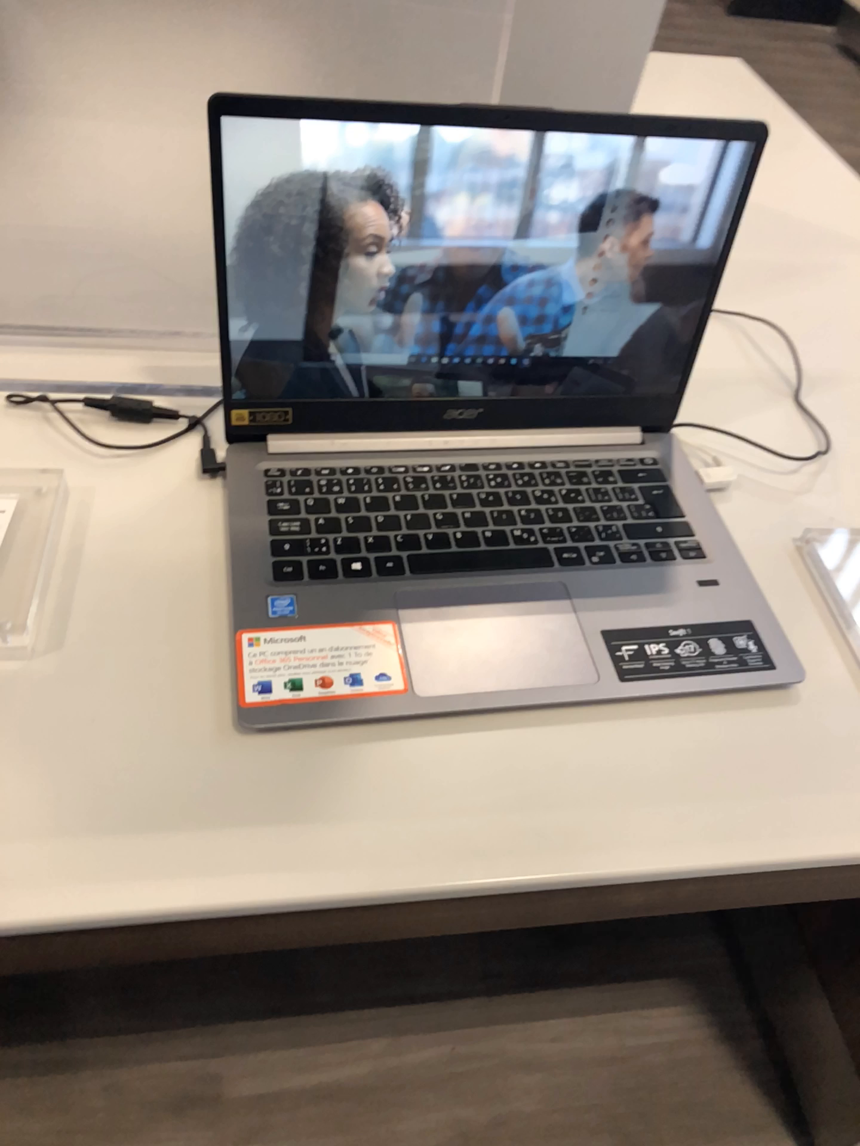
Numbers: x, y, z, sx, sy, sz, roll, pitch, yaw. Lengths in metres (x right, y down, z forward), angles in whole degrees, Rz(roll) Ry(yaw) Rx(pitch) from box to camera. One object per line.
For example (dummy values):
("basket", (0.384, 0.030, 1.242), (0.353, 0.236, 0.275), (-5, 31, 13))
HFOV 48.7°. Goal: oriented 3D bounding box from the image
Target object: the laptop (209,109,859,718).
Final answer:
("laptop", (0.045, -0.089, 0.508), (0.306, 0.205, 0.225), (-3, 47, -13))
